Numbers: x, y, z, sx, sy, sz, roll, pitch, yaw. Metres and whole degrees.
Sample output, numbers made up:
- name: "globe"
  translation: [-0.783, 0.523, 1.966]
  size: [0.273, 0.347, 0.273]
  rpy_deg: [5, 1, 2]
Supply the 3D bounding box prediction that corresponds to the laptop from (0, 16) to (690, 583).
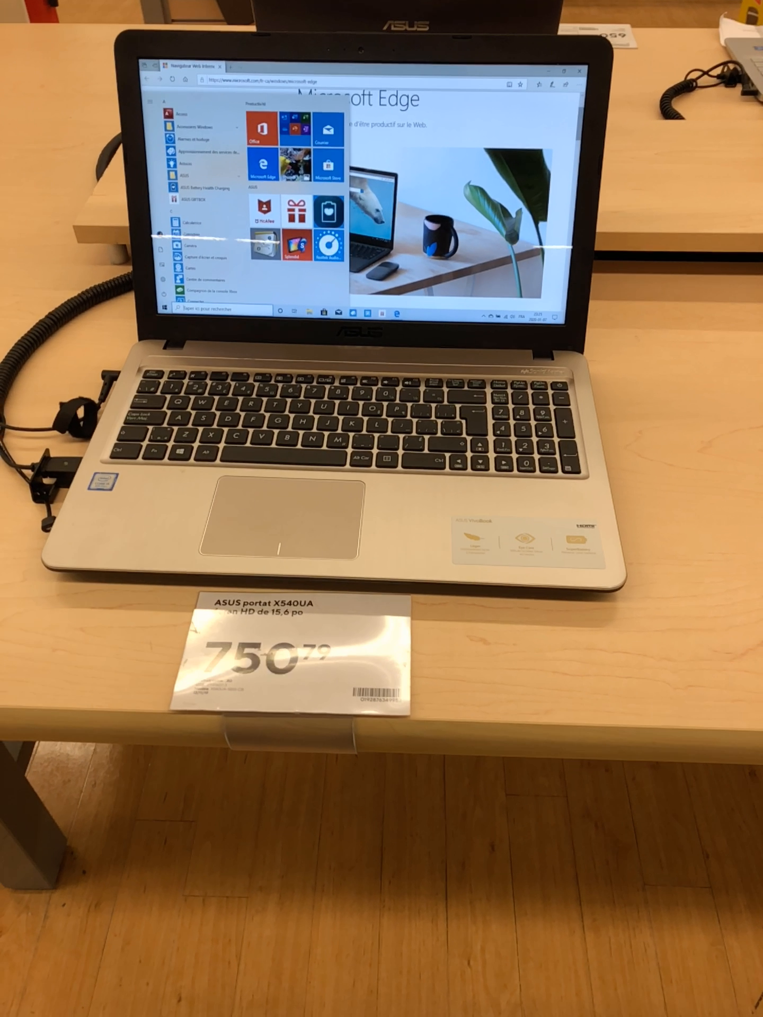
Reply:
- name: "laptop"
  translation: [-0.032, -0.168, 0.611]
  size: [0.383, 0.215, 0.361]
  rpy_deg: [2, 48, 2]
